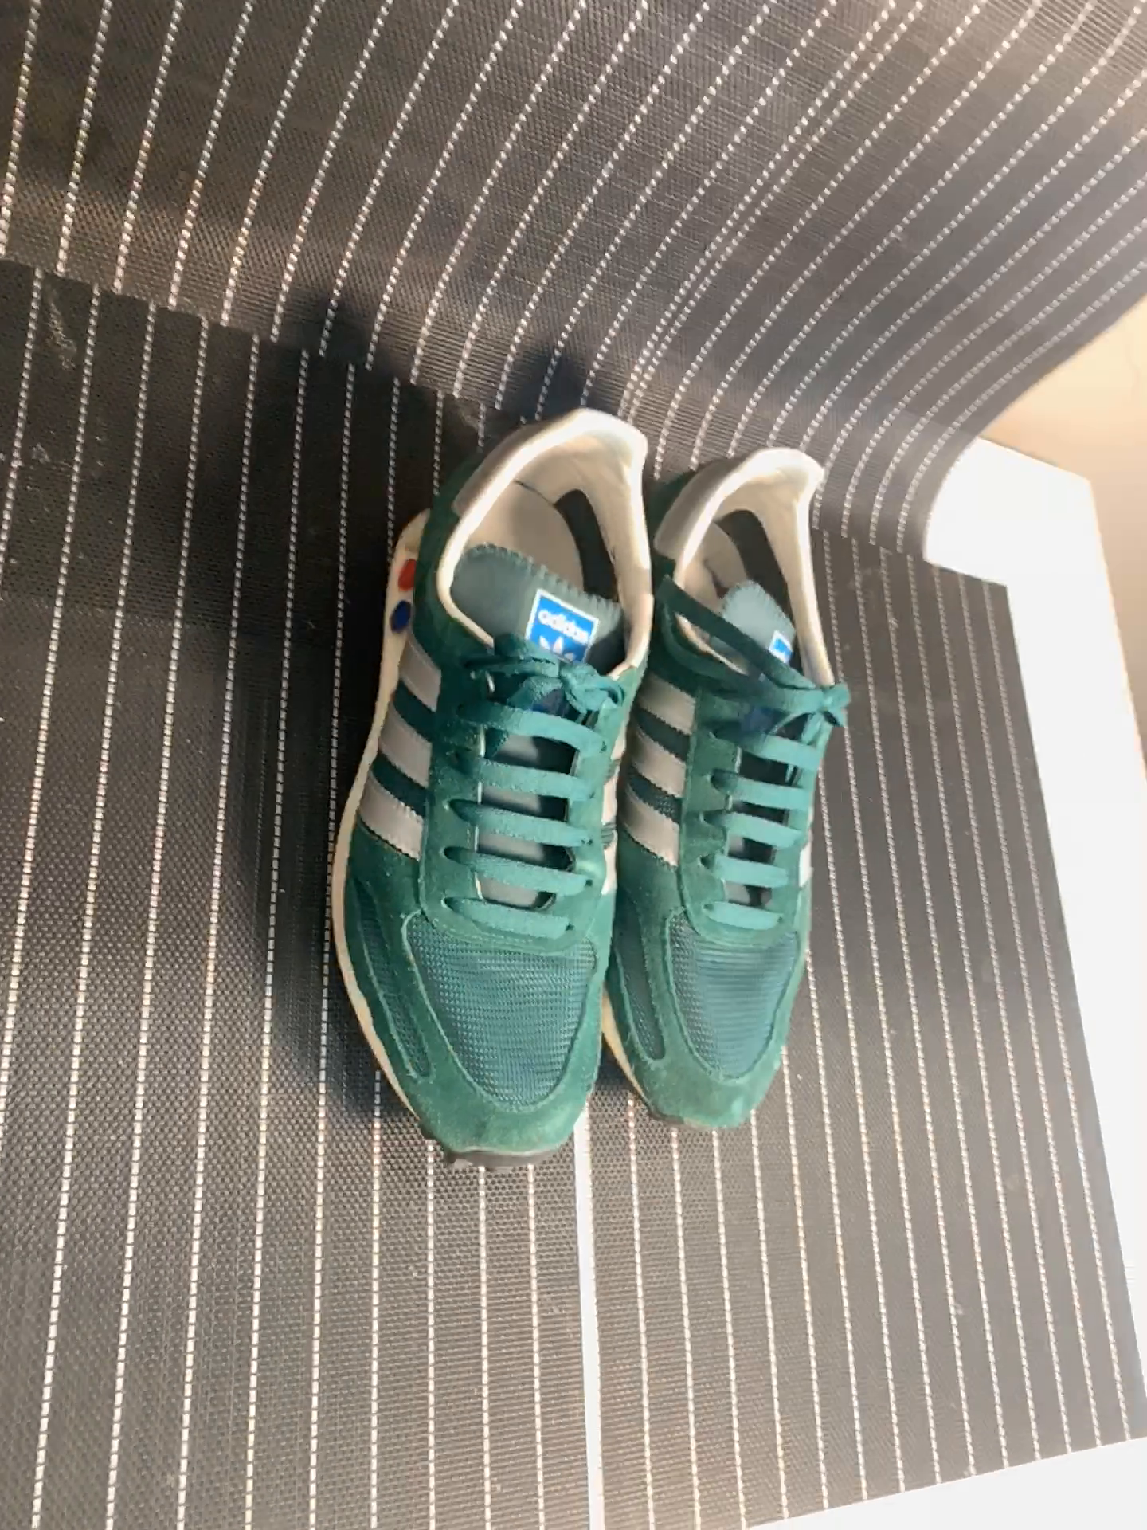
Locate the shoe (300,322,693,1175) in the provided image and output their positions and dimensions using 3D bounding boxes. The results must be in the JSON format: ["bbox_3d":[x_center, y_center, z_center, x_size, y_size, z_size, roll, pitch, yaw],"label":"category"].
[{"bbox_3d":[-0.029,-0.002,0.436,0.100,0.090,0.290,10,68,-29],"label":"shoe"}]

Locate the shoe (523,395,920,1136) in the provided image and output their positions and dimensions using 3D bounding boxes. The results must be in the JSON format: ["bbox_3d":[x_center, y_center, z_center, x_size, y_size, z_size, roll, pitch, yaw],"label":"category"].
[{"bbox_3d":[0.051,0.008,0.499,0.100,0.120,0.280,10,68,-29],"label":"shoe"}]
